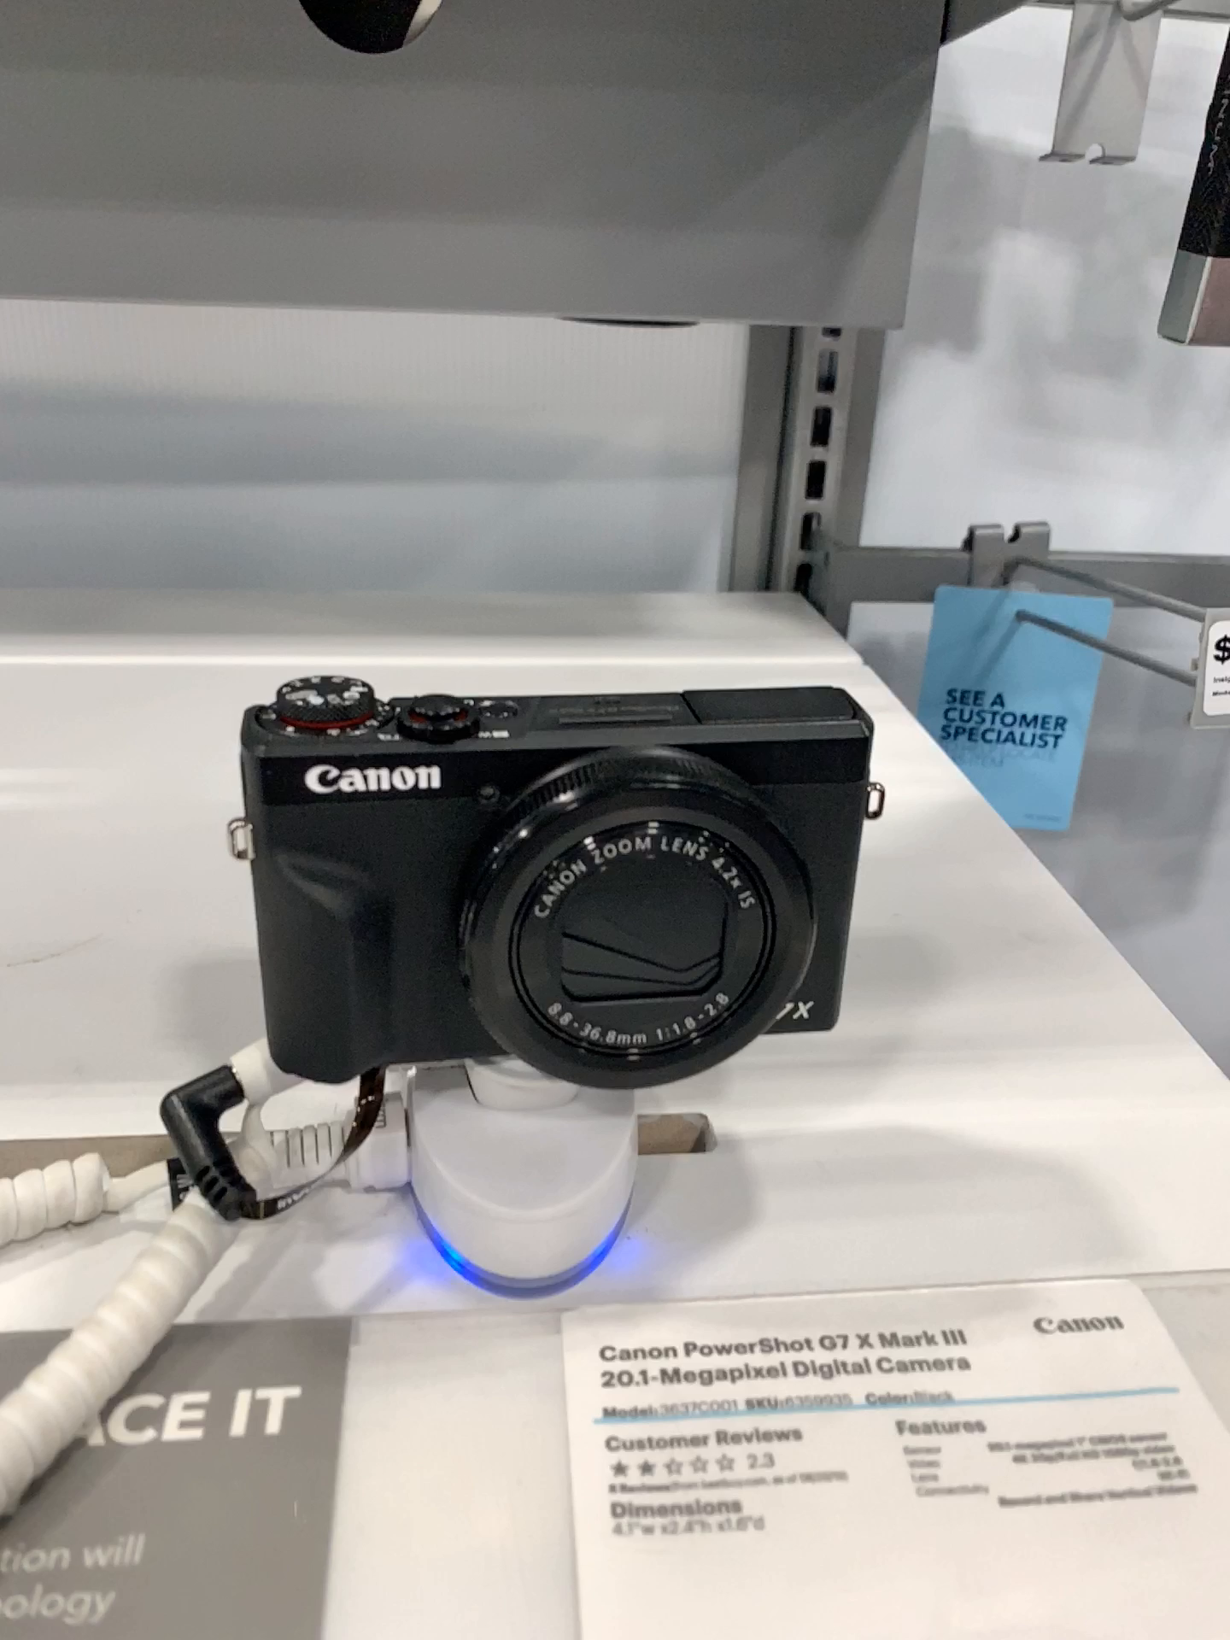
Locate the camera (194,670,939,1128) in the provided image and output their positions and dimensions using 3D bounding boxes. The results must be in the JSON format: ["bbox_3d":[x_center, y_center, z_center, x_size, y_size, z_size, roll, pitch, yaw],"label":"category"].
[{"bbox_3d":[-0.009,0.011,0.216,0.110,0.062,0.040,-2,24,-11],"label":"camera"}]
